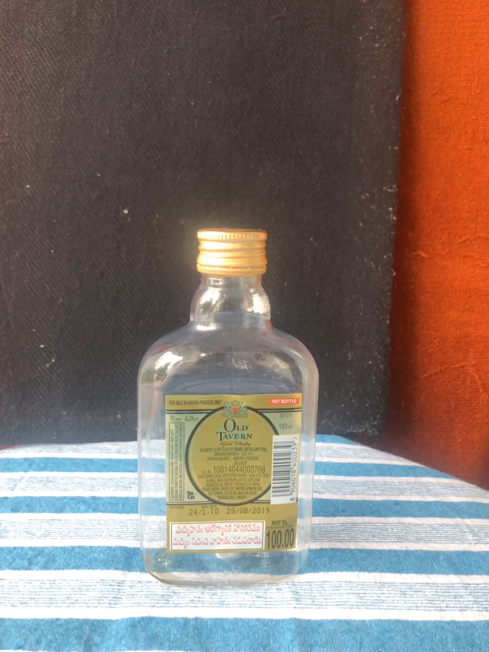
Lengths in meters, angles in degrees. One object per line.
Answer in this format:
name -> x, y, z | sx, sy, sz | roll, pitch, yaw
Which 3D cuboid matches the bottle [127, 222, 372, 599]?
bottle -> -0.002, 0.033, 0.217 | 0.080, 0.140, 0.040 | 2, 13, -6
